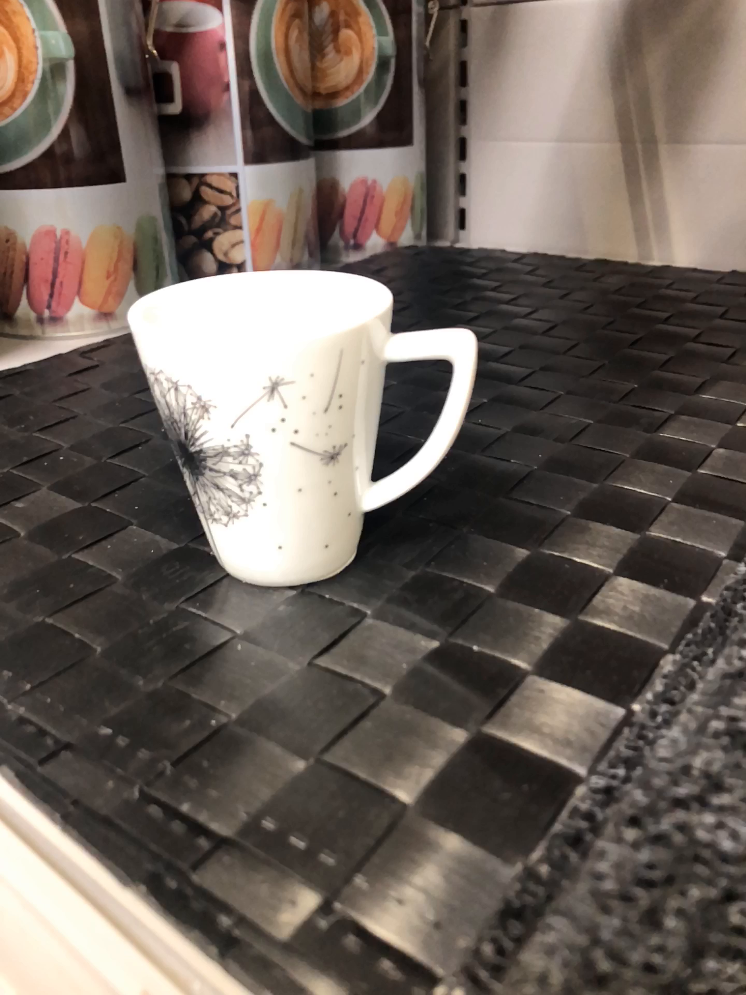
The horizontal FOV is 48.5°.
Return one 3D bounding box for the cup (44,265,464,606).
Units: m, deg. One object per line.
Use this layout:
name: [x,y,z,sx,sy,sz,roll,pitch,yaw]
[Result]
cup: [-0.021,-0.018,0.200,0.081,0.060,0.057,2,33,9]
